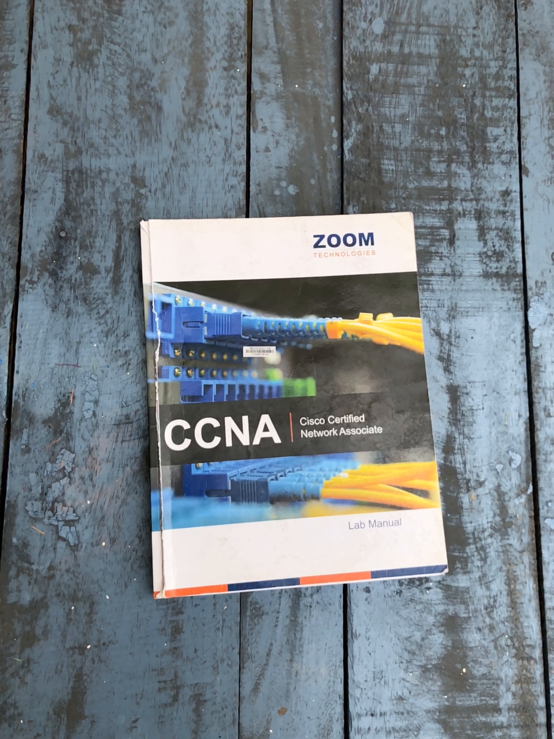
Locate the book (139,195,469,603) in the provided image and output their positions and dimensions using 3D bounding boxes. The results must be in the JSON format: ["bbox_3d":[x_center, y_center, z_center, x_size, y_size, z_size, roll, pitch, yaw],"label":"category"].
[{"bbox_3d":[0.013,0.011,0.421,0.200,0.030,0.260,-3,80,-6],"label":"book"}]
